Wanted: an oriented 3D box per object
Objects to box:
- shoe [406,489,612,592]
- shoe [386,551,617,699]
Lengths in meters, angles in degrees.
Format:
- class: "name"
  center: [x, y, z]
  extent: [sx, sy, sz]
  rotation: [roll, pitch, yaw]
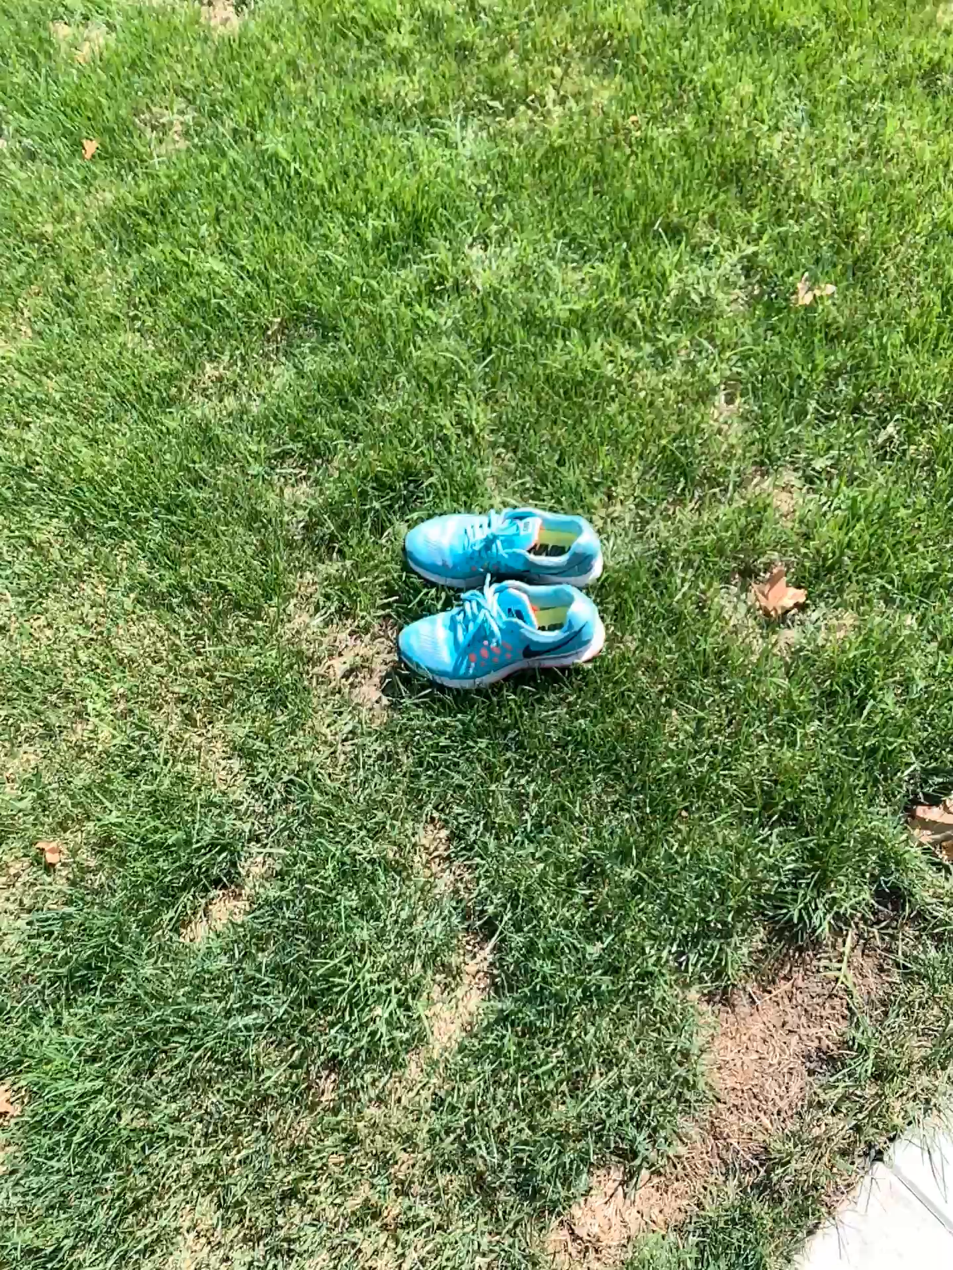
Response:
- class: "shoe"
  center: [0.044, -0.118, 1.246]
  extent: [0.250, 0.080, 0.100]
  rotation: [0, 64, 5]
- class: "shoe"
  center: [0.031, -0.011, 1.204]
  extent: [0.260, 0.100, 0.110]
  rotation: [-9, 63, 1]
